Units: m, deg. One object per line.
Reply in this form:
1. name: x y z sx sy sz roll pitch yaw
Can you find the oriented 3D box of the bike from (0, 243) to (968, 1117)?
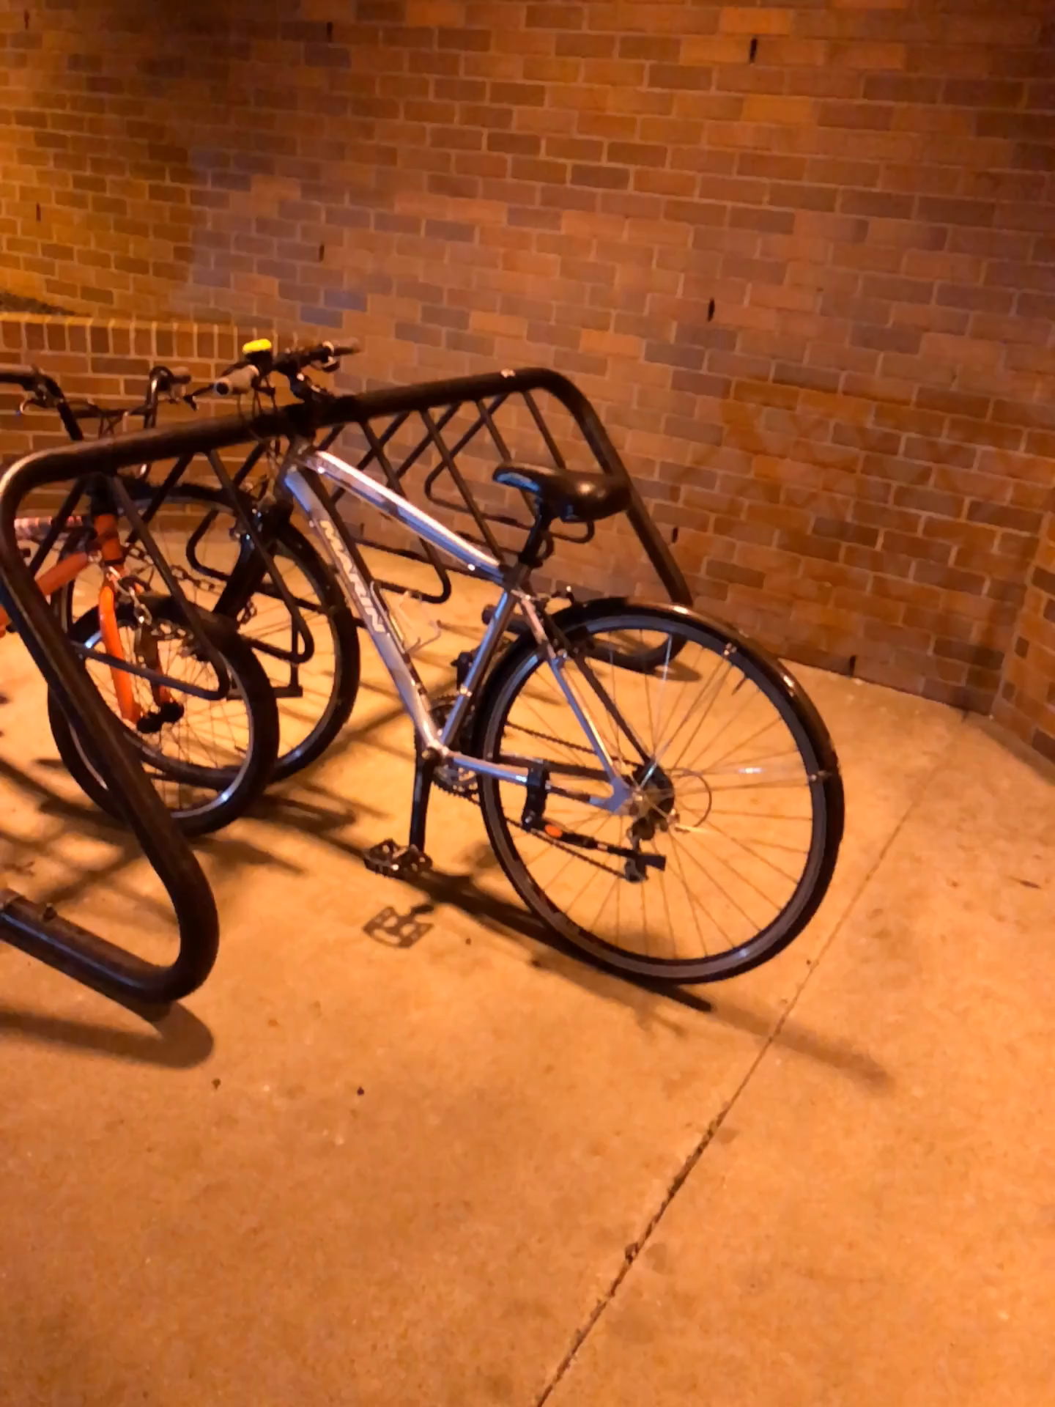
1. bike: -0.210 -0.182 2.059 1.644 0.865 0.640 21 28 22
